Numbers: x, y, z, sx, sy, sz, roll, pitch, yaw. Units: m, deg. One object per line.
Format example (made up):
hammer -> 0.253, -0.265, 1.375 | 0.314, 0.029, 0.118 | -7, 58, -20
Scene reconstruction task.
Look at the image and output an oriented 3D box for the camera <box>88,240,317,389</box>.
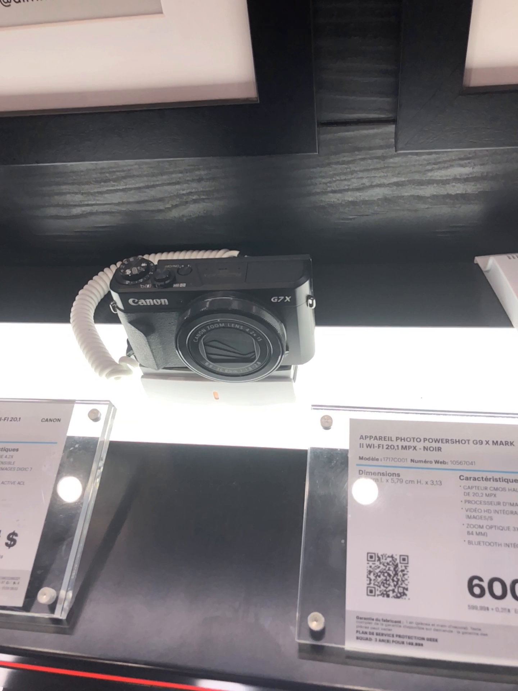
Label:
camera -> -0.025, -0.014, 0.316 | 0.110, 0.079, 0.030 | 0, 44, 8
